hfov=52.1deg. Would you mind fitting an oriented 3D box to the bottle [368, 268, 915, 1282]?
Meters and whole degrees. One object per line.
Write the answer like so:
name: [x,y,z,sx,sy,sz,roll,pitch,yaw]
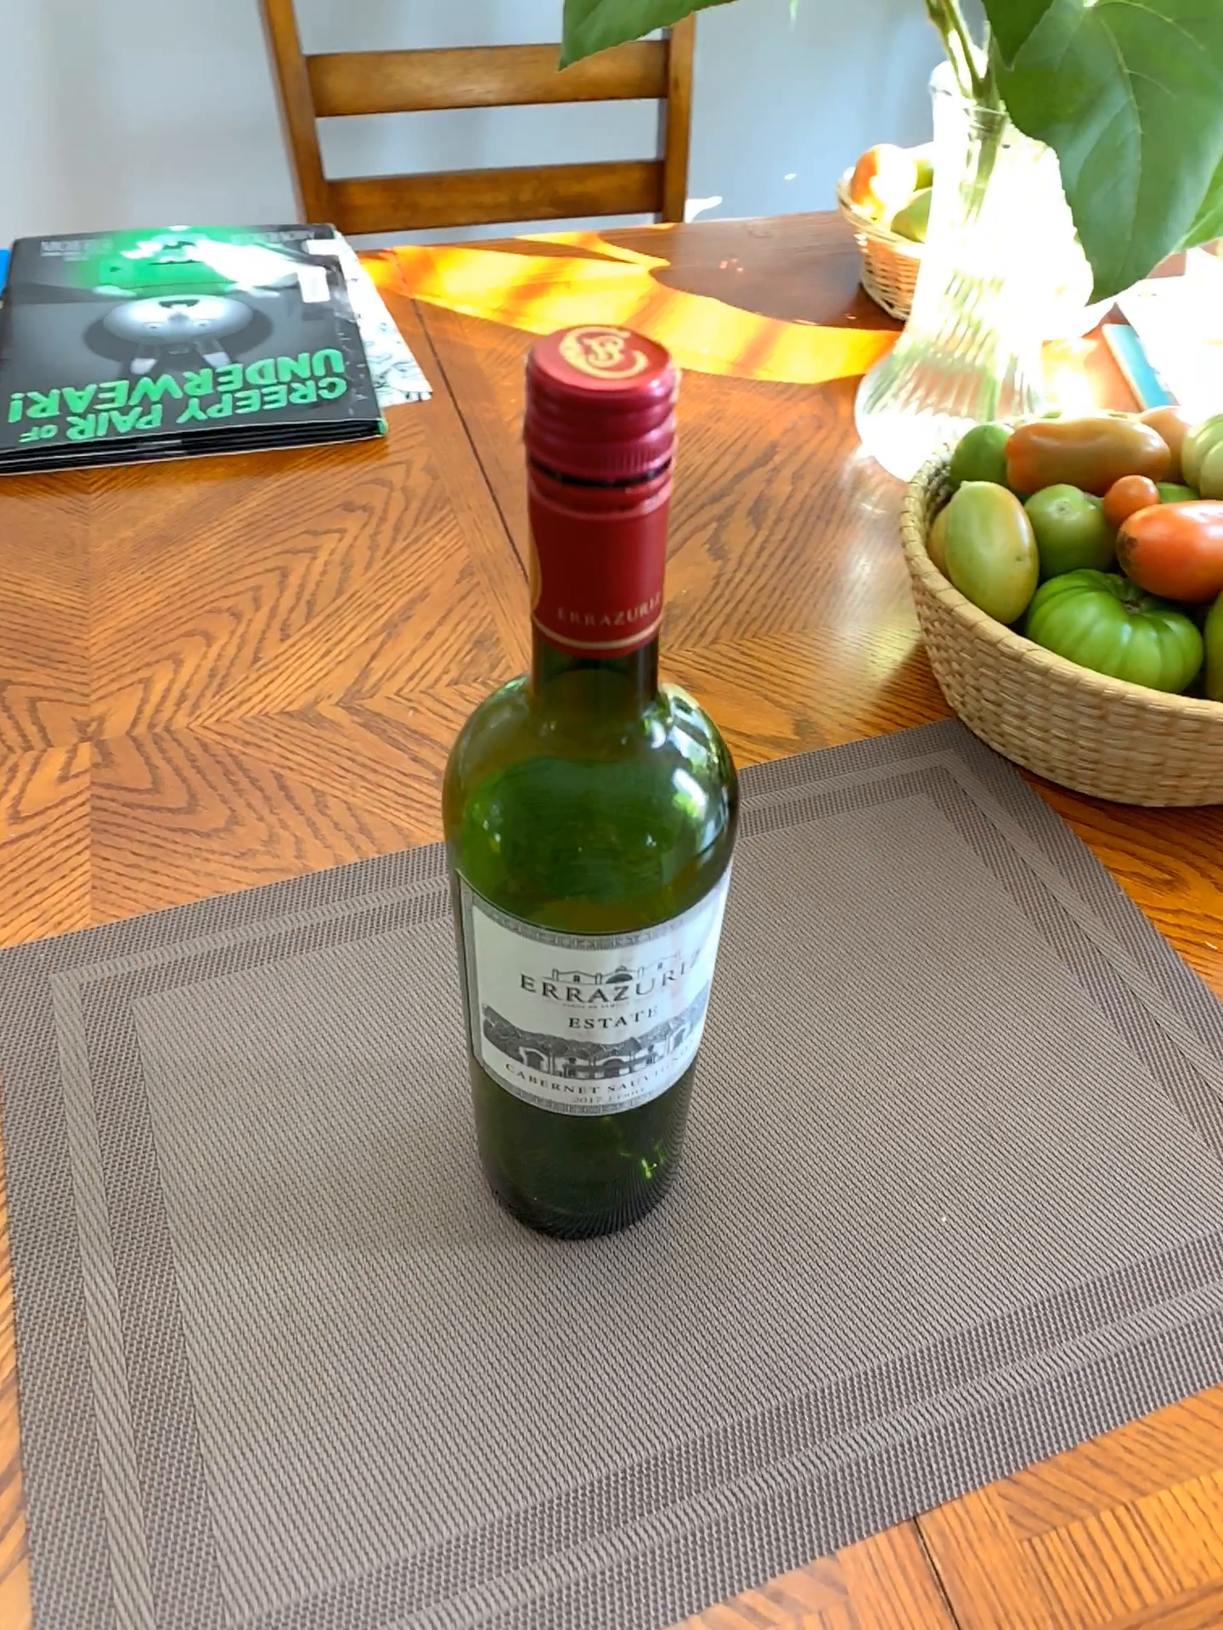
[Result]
bottle: [-0.004,0.018,0.357,0.090,0.307,0.081,-9,47,-12]
